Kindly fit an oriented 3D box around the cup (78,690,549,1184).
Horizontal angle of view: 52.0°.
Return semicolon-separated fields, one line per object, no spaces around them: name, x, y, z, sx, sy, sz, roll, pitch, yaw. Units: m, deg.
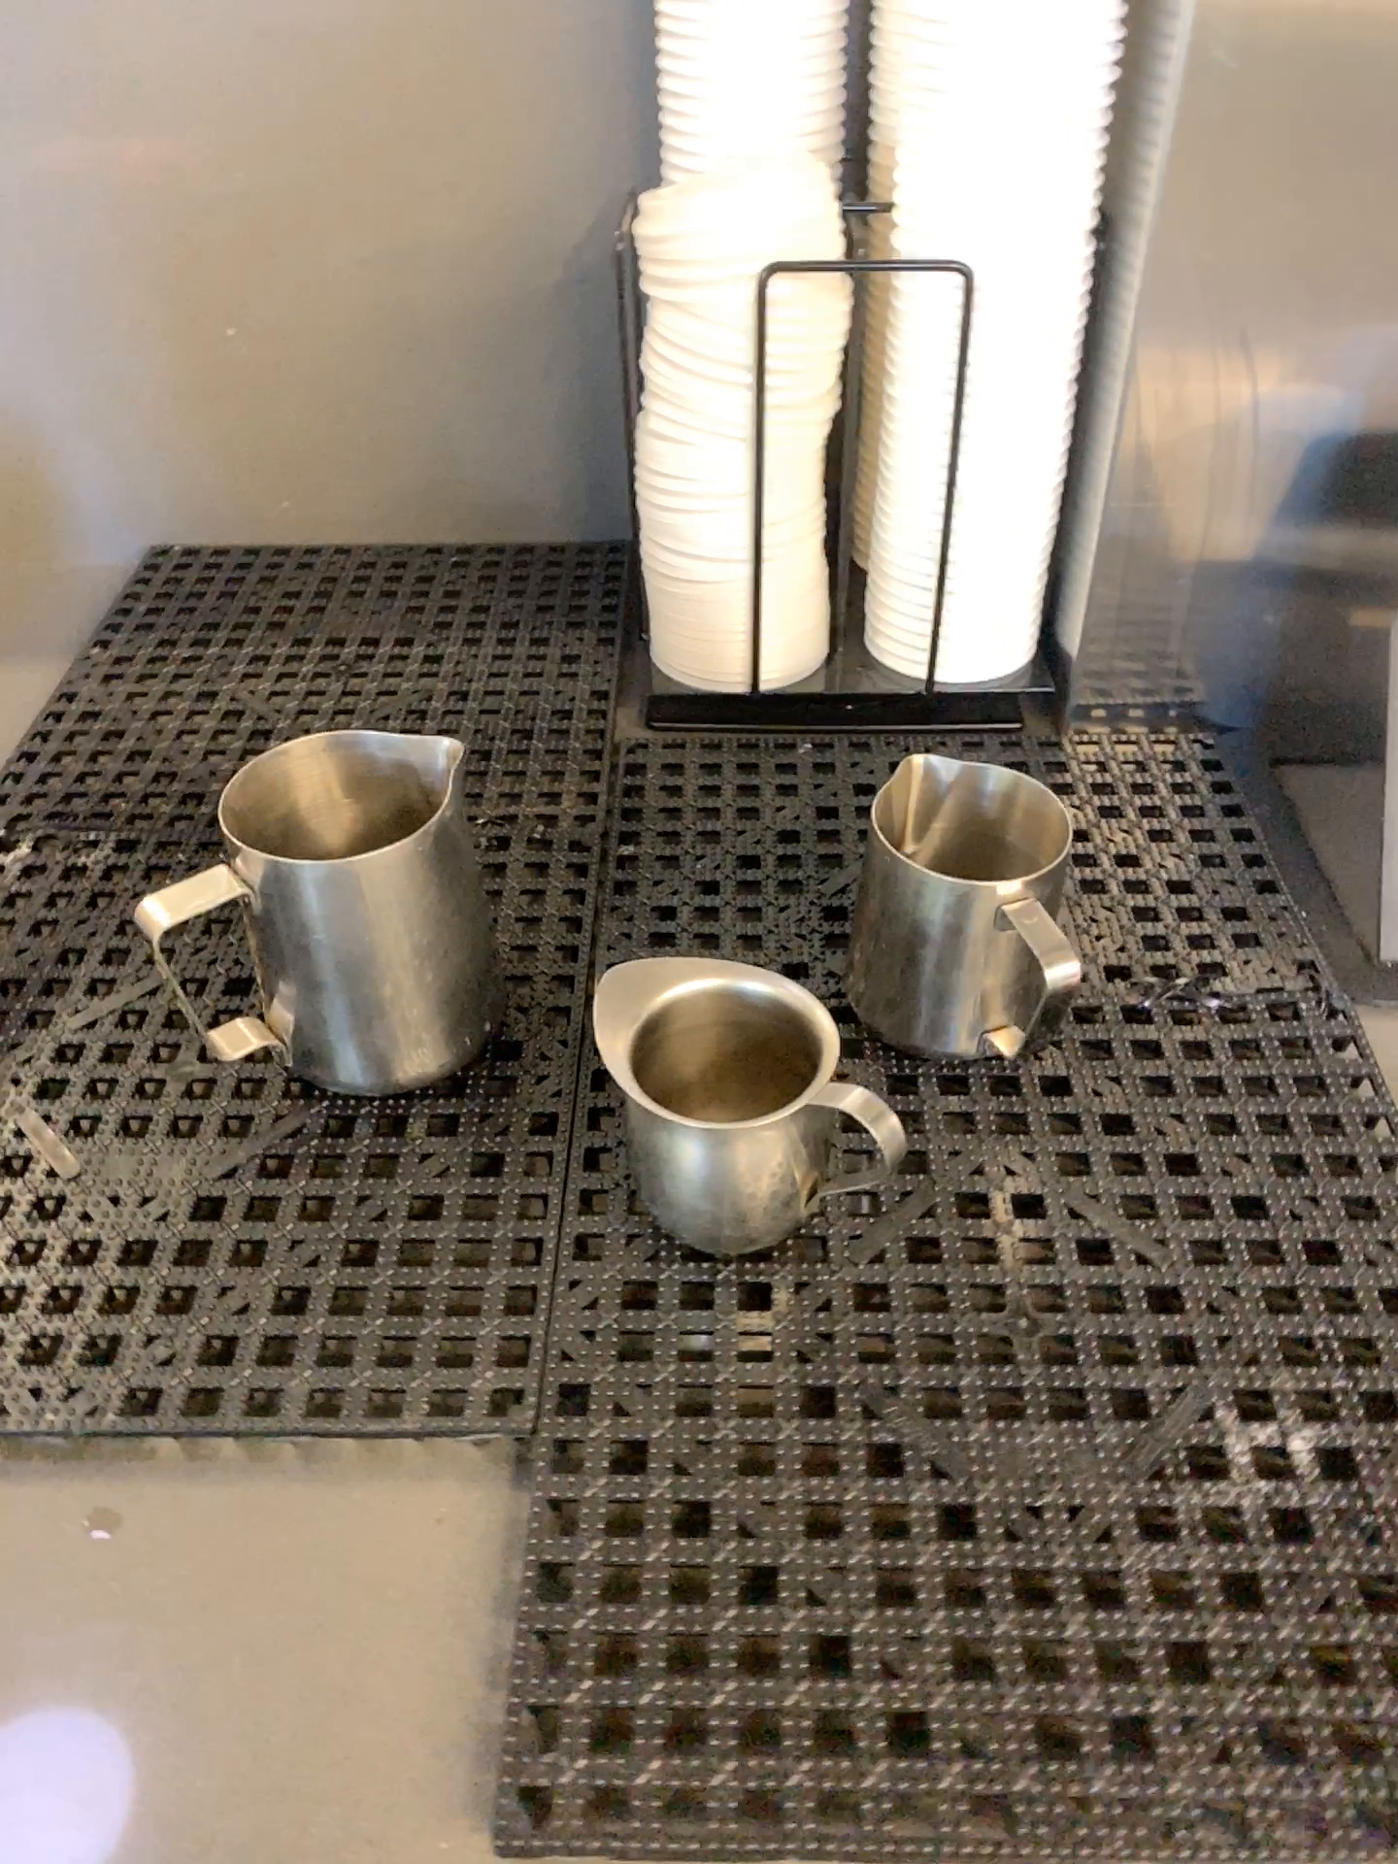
cup;-0.125;-0.001;0.494;0.120;0.109;0.070;-31;48;-30

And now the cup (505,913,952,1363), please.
cup;0.009;0.060;0.441;0.110;0.070;0.070;24;47;27

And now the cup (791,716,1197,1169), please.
cup;0.094;-0.001;0.501;0.080;0.080;0.131;-13;42;-13
